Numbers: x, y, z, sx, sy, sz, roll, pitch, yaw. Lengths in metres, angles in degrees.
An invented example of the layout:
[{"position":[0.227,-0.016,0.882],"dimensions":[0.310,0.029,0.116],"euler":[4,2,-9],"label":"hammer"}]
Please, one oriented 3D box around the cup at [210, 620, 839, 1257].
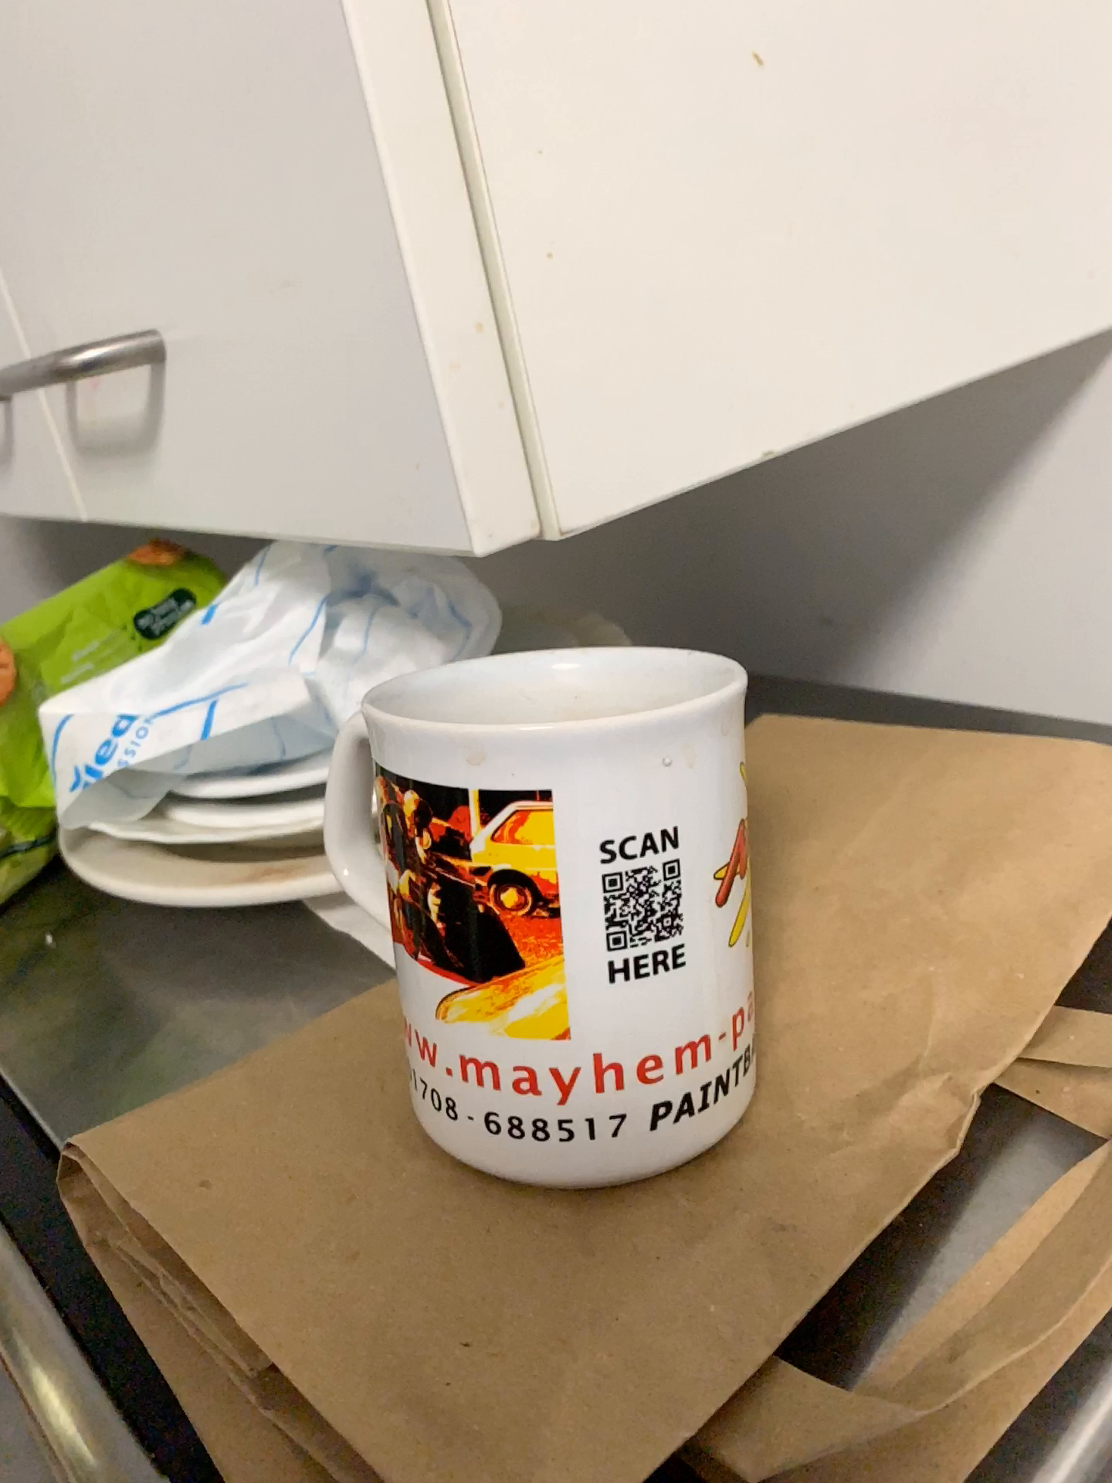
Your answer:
[{"position":[-0.007,0.027,0.243],"dimensions":[0.078,0.088,0.100],"euler":[-17,18,-41],"label":"cup"}]
